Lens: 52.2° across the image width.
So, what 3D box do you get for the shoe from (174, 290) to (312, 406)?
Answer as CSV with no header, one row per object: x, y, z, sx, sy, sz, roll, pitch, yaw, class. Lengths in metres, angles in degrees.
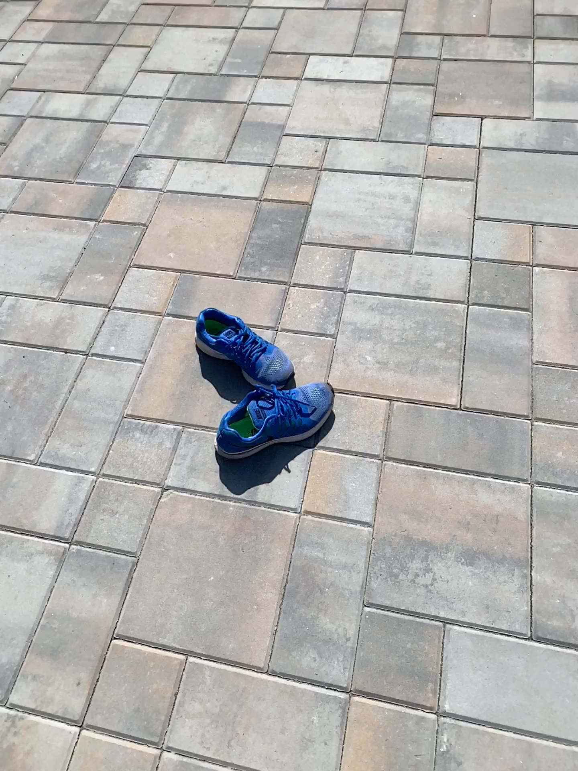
-0.100,-0.086,1.298,0.281,0.080,0.120,31,66,21,shoe

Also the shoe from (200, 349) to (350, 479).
-0.024,0.057,1.204,0.270,0.110,0.120,-26,60,-11,shoe
